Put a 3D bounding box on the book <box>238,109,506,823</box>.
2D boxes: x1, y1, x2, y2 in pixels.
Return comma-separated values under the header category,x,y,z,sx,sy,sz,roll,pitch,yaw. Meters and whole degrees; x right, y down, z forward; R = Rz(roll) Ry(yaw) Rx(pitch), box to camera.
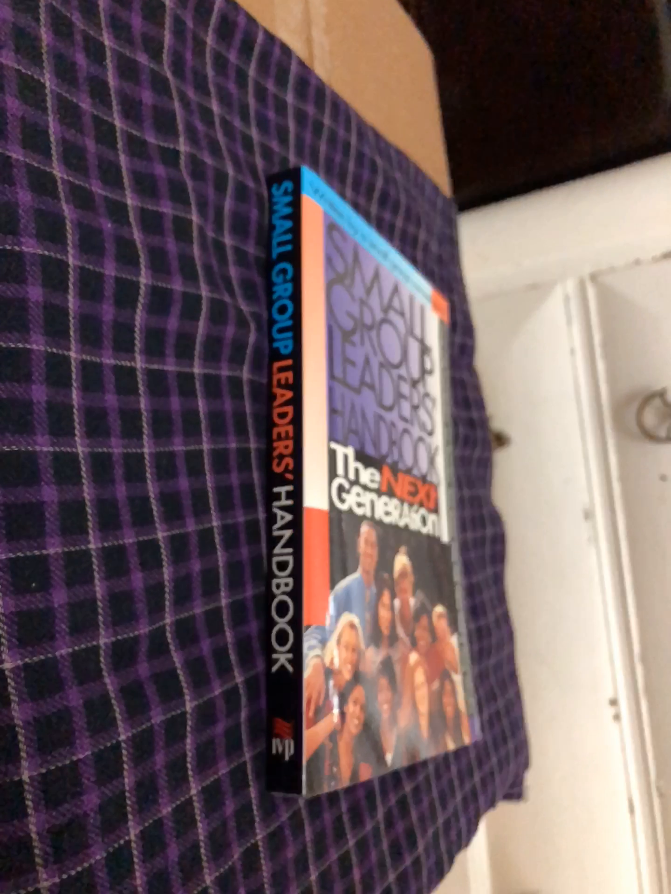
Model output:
category,x,y,z,sx,sy,sz,roll,pitch,yaw
book,0.020,0.010,0.297,0.151,0.030,0.220,22,62,-57
